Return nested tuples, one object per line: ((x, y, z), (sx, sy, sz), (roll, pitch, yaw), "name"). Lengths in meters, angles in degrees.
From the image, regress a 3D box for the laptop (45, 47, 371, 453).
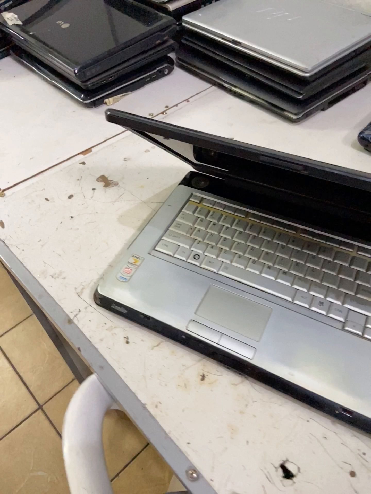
((0.103, -0.030, 0.390), (0.356, 0.185, 0.257), (20, 54, 20), "laptop")
